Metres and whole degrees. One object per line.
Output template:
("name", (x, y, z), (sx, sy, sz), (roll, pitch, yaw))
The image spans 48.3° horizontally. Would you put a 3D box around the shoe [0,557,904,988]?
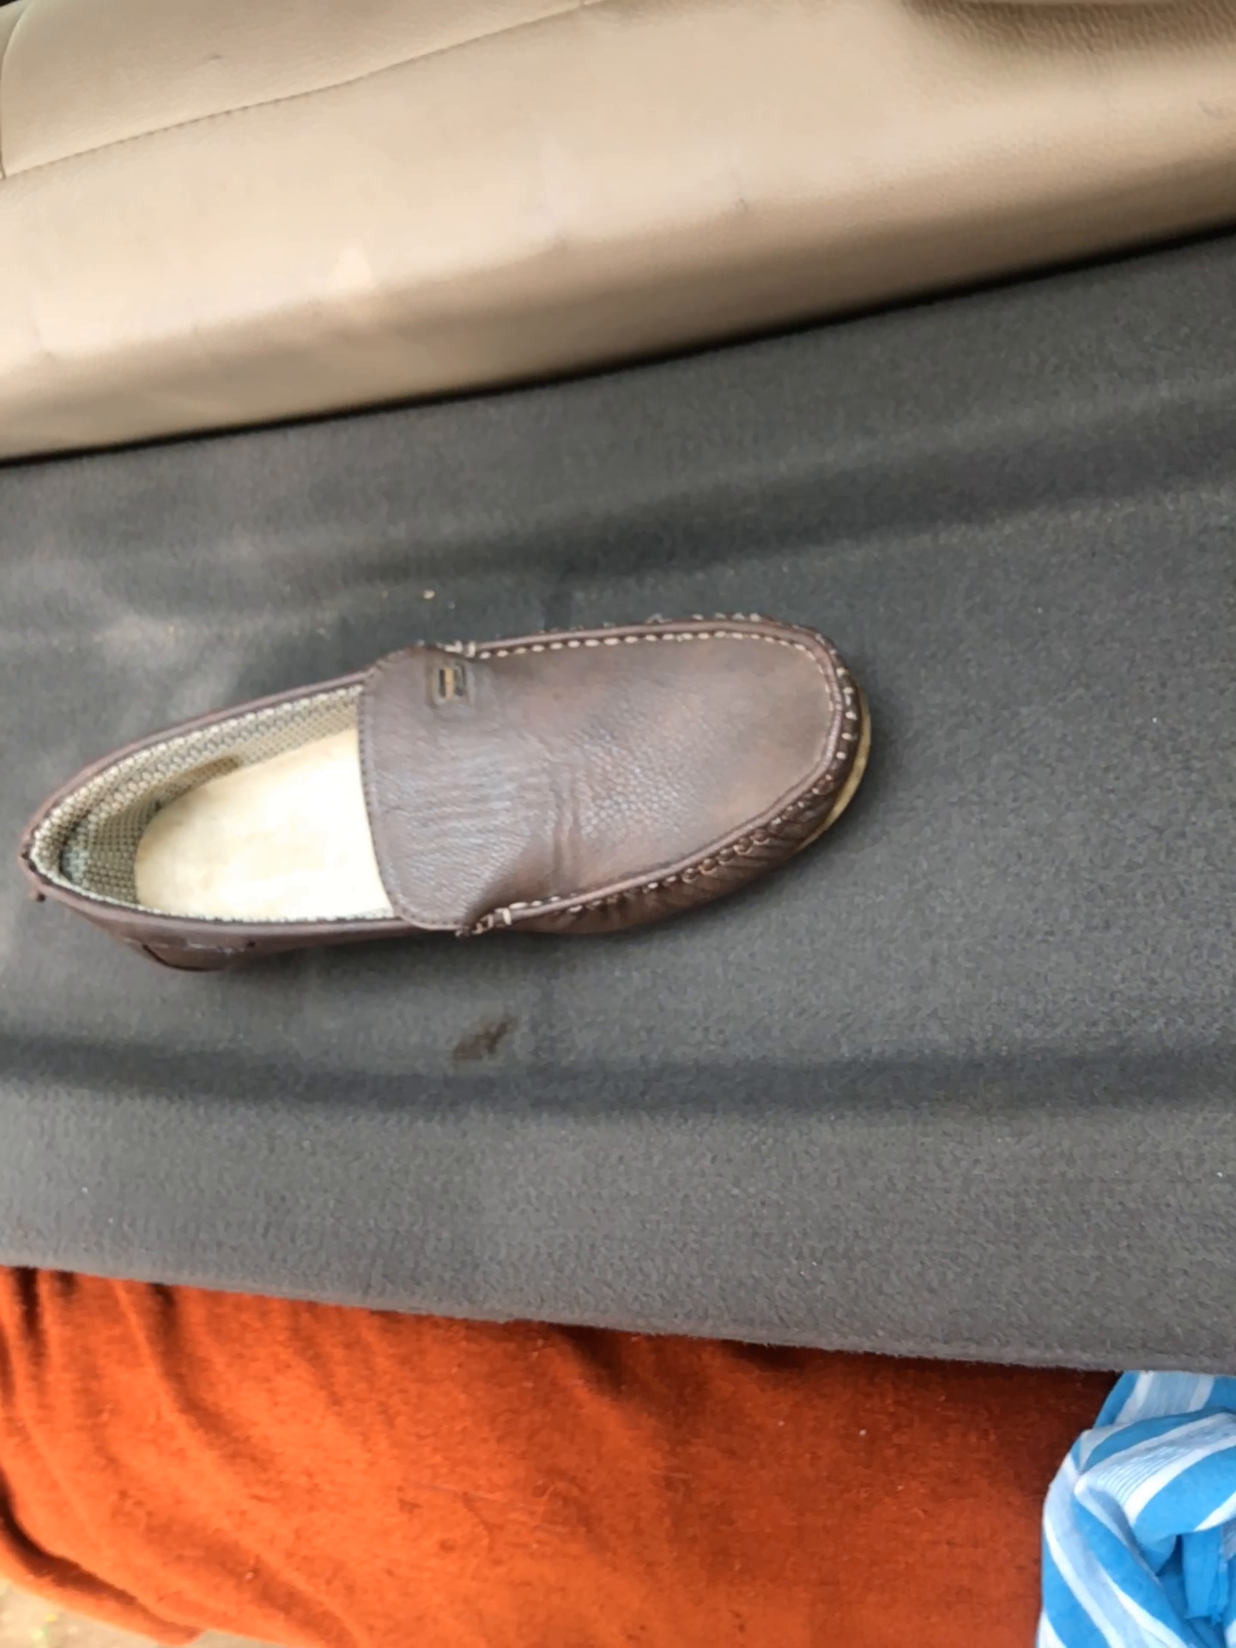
("shoe", (-0.055, -0.006, 0.398), (0.260, 0.050, 0.080), (-7, 71, 21))
